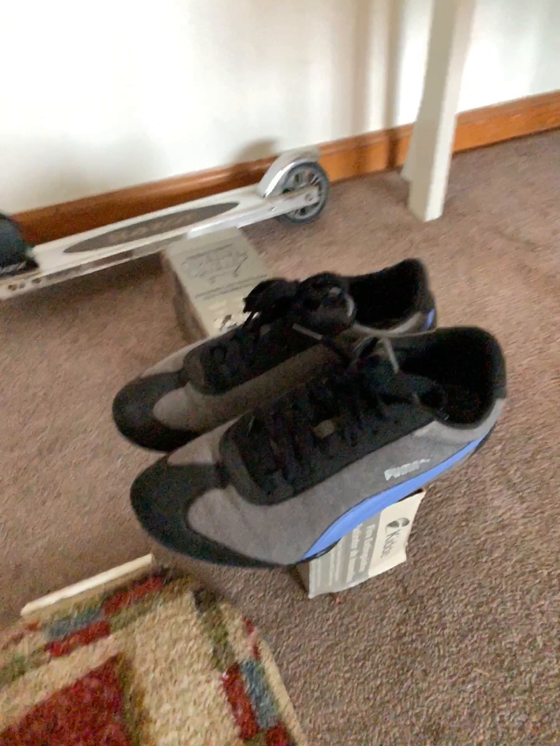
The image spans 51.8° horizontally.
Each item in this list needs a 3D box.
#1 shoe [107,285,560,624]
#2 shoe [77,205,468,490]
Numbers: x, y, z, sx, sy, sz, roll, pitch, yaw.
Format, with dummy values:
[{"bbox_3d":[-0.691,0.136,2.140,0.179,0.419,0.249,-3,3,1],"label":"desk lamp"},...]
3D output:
[{"bbox_3d":[0.036,0.039,0.358,0.250,0.077,0.101,-20,44,-14],"label":"shoe"},{"bbox_3d":[-0.005,-0.027,0.416,0.240,0.077,0.111,-21,49,-12],"label":"shoe"}]
